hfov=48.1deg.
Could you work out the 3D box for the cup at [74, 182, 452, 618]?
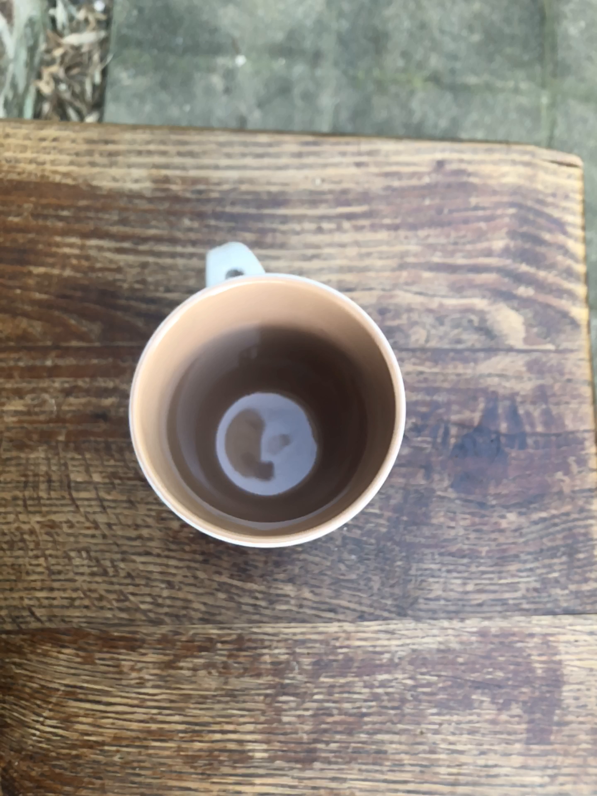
[{"bbox_3d":[-0.016,0.003,0.262,0.093,0.090,0.123,-15,83,-7],"label":"cup"}]
